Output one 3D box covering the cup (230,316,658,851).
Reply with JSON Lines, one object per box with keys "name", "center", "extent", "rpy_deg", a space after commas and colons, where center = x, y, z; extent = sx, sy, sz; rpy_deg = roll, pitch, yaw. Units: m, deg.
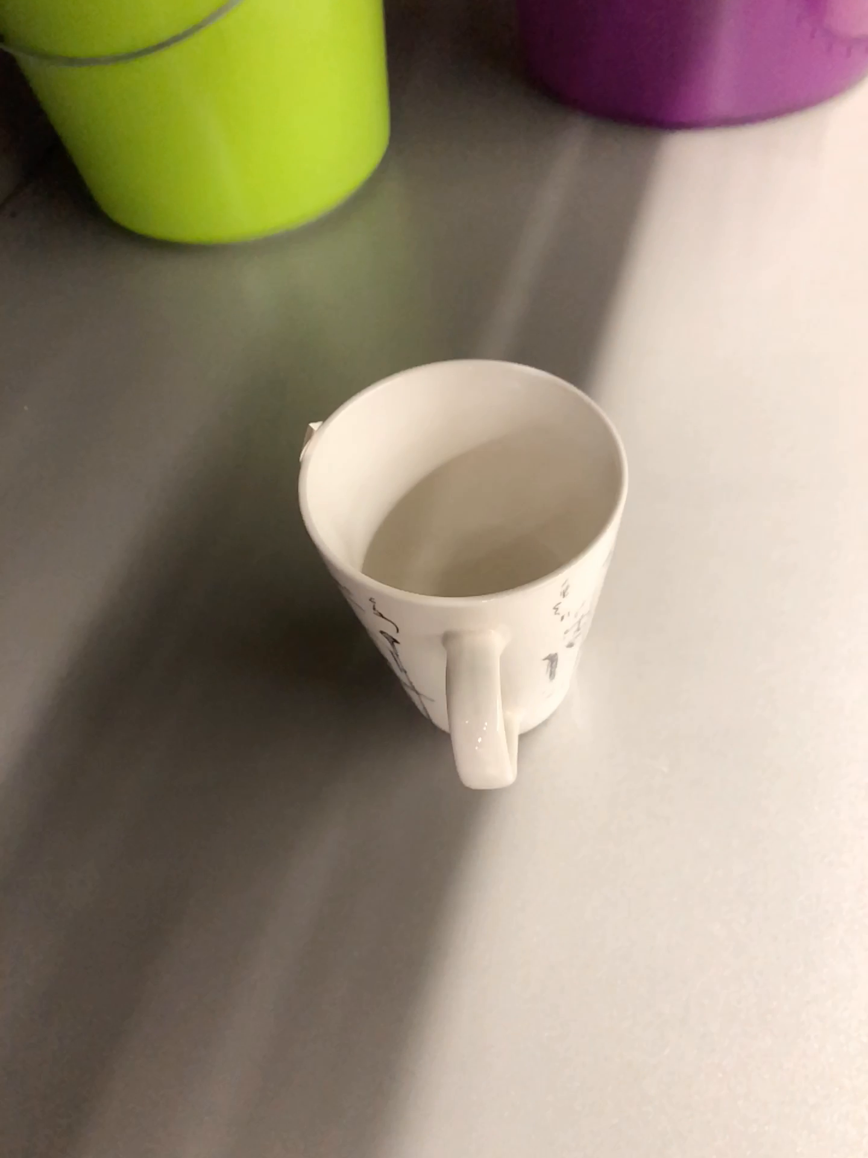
{"name": "cup", "center": [0.008, 0.004, 0.277], "extent": [0.091, 0.098, 0.115], "rpy_deg": [-2, 54, 6]}
